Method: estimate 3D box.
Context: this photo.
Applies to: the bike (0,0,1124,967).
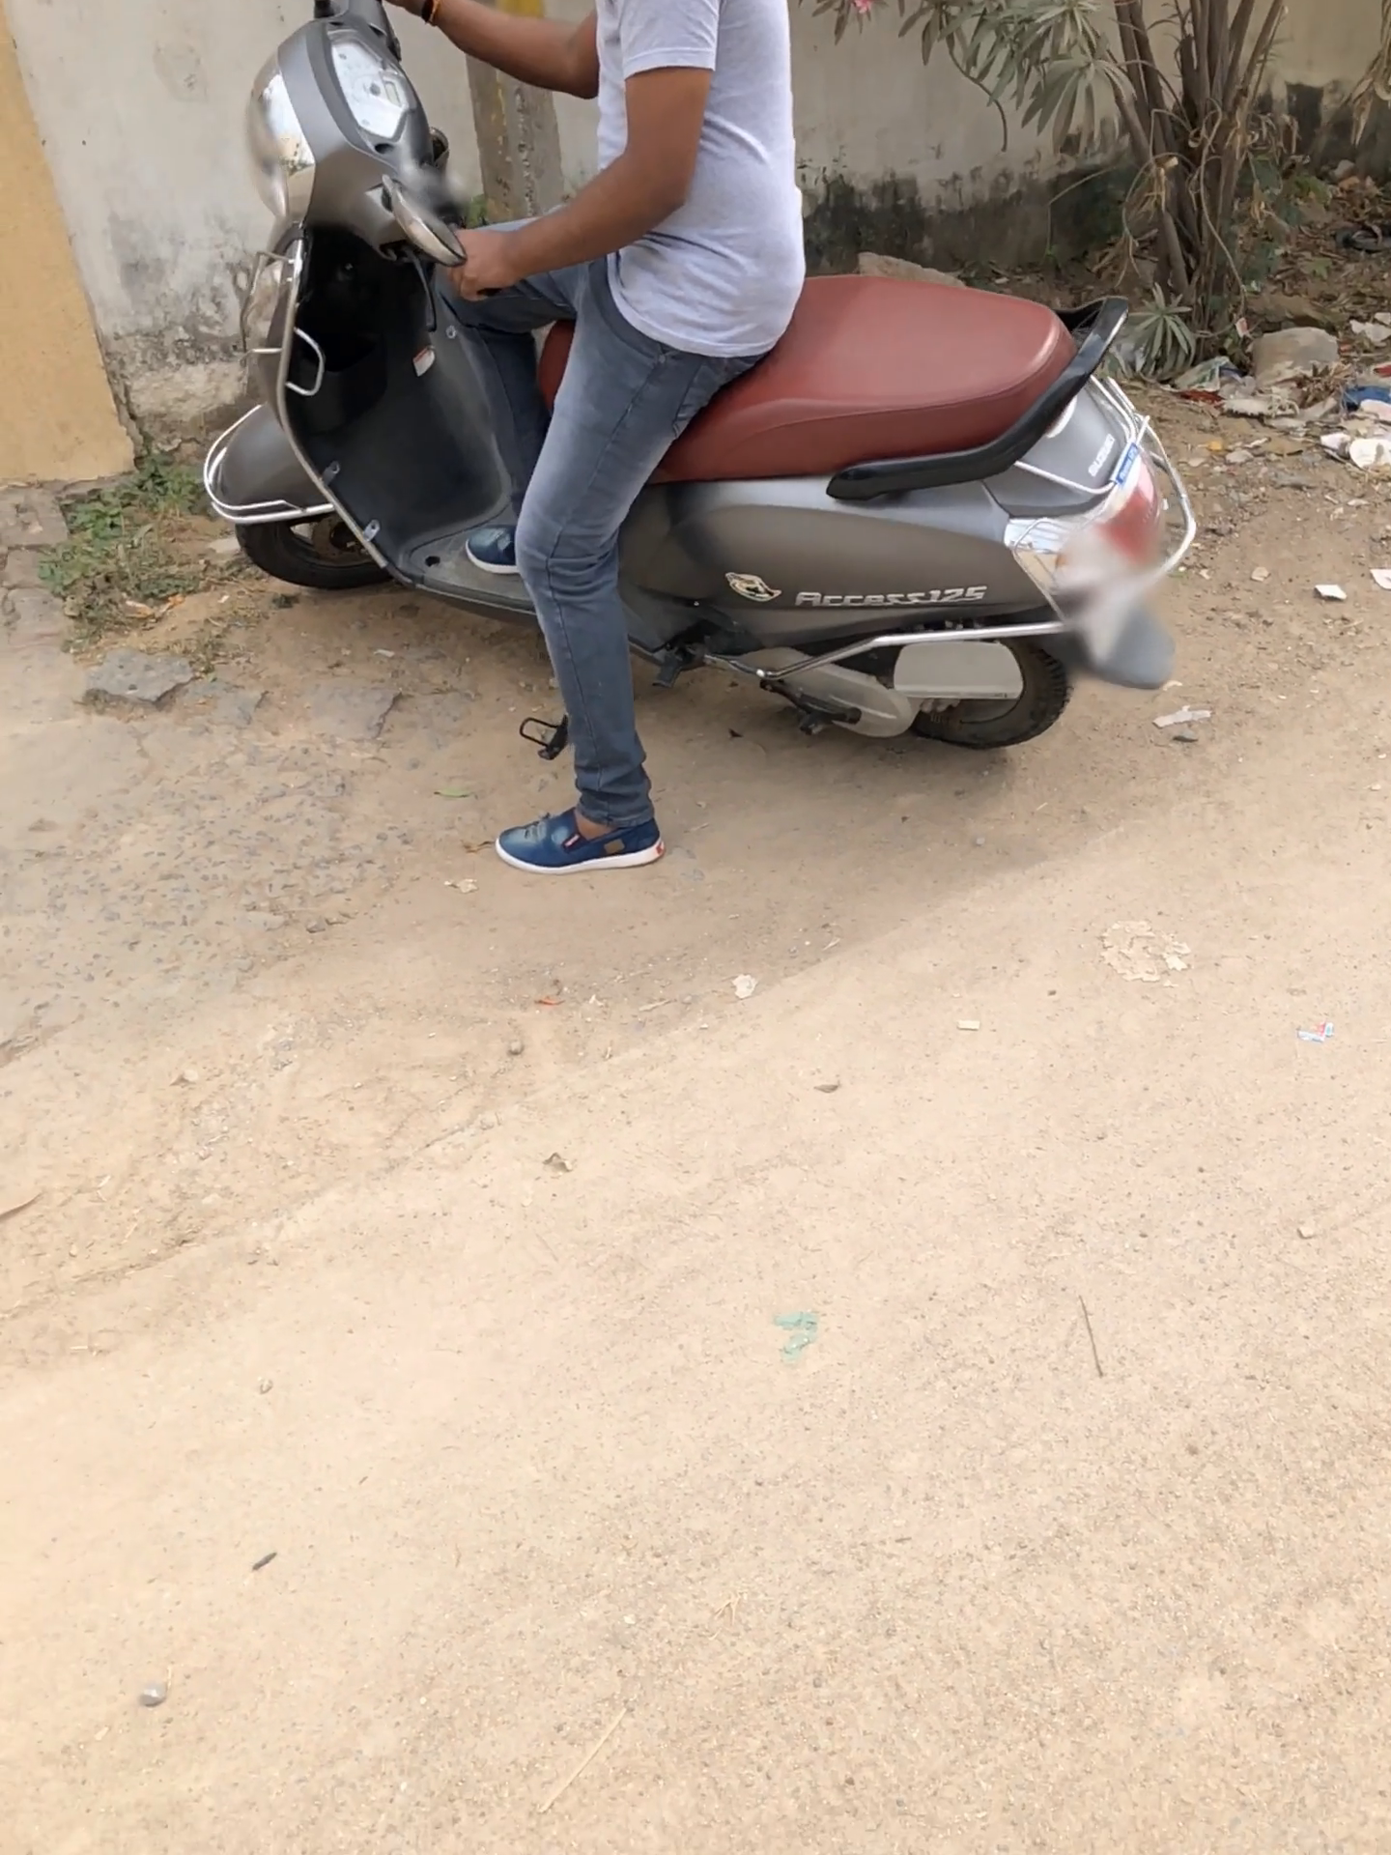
[{"bbox_3d":[-0.248,-0.776,2.224,1.496,1.195,0.614,12,39,17],"label":"bike"}]
